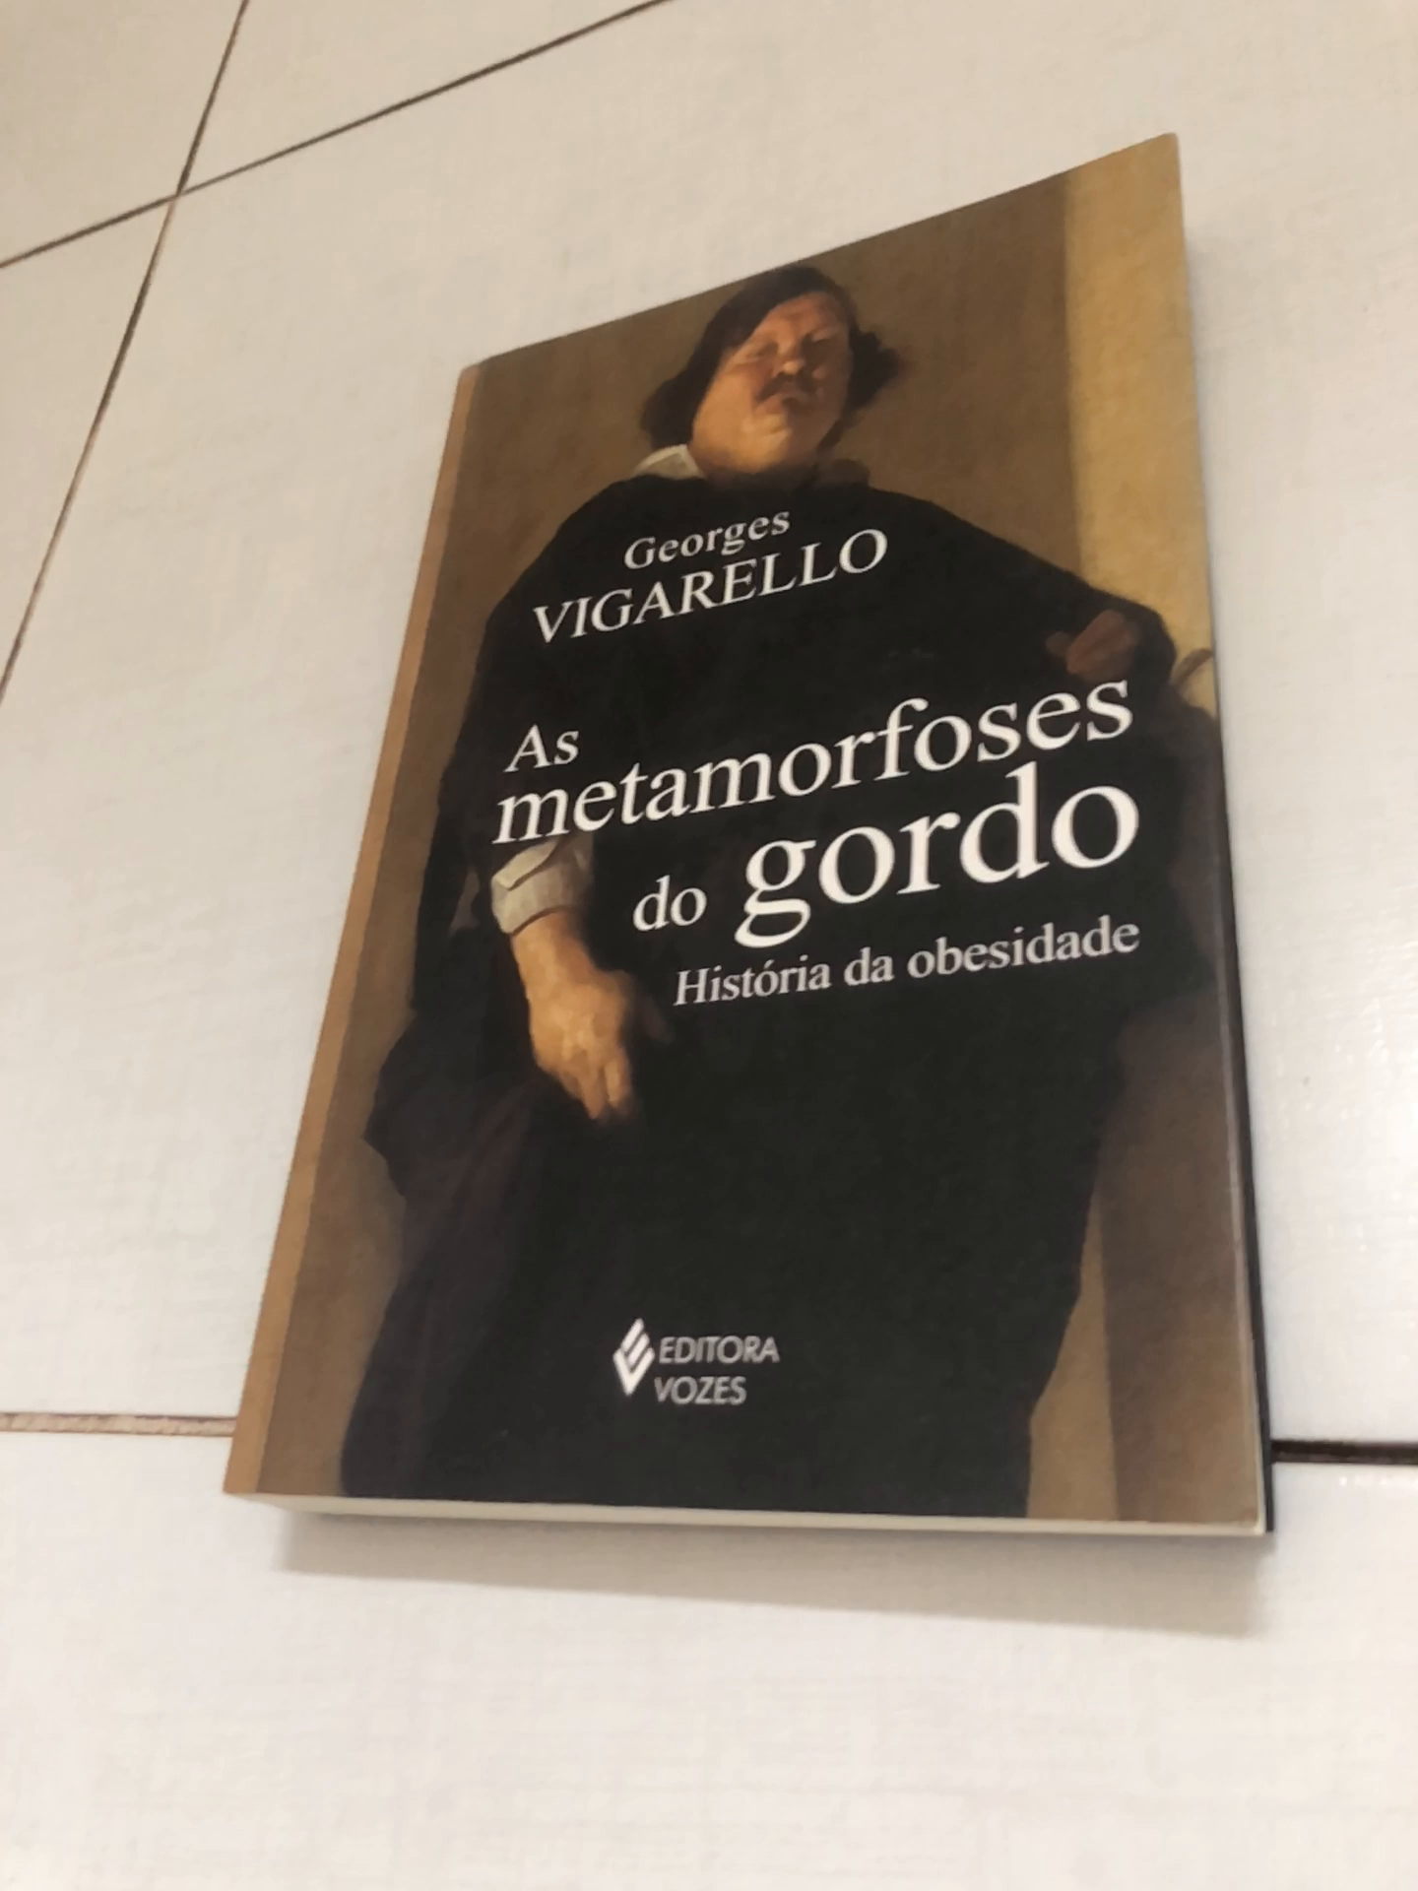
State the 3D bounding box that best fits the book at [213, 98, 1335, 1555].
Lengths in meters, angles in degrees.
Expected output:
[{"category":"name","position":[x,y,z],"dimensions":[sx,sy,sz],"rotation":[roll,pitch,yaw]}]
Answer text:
[{"category":"book","position":[0.009,-0.023,0.233],"dimensions":[0.137,0.023,0.204],"rotation":[-8,61,26]}]
